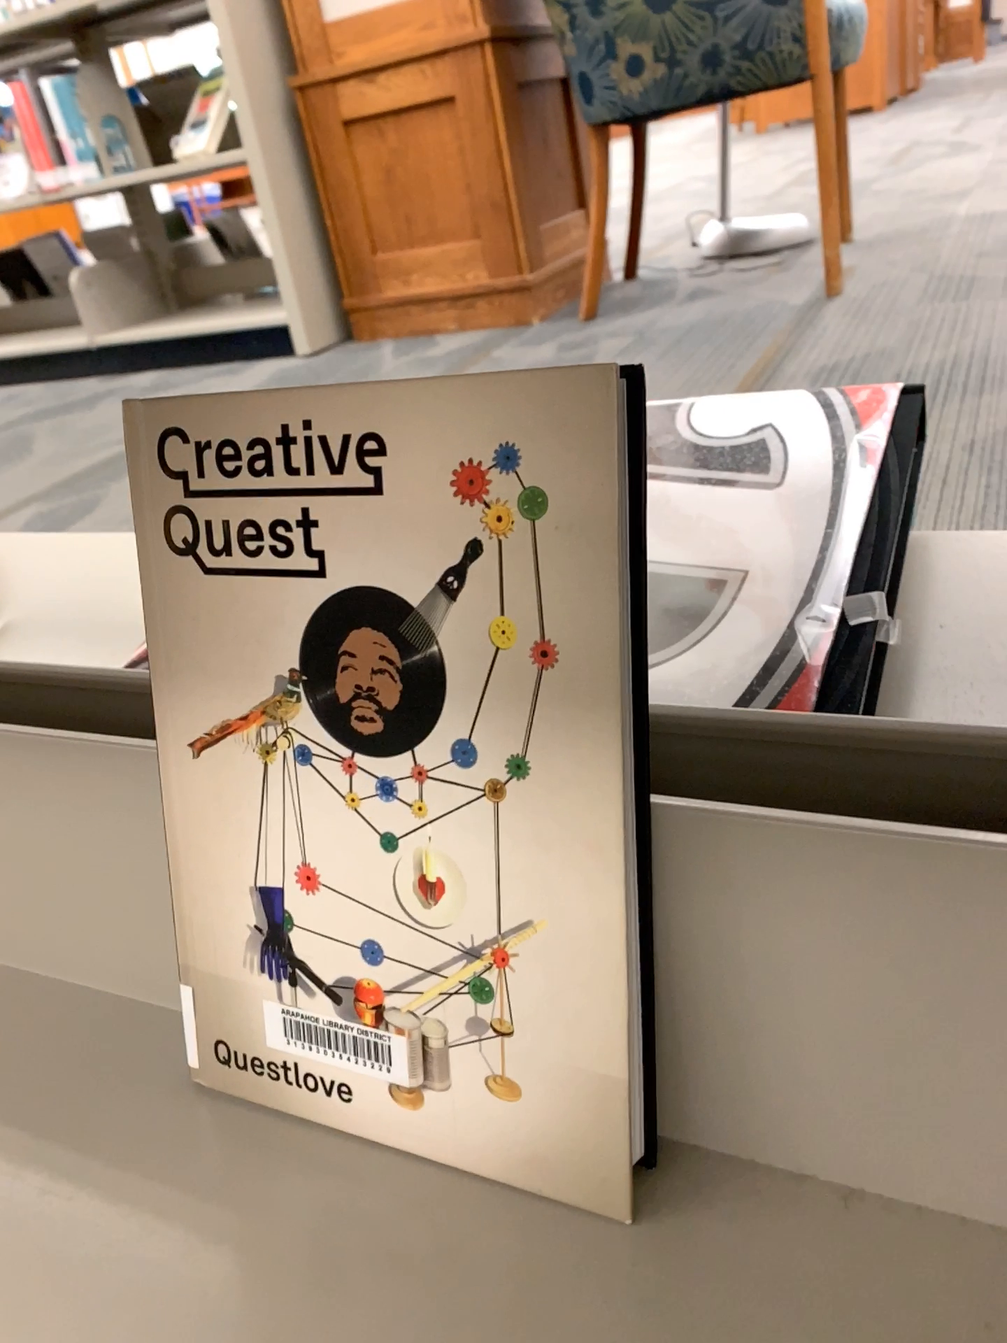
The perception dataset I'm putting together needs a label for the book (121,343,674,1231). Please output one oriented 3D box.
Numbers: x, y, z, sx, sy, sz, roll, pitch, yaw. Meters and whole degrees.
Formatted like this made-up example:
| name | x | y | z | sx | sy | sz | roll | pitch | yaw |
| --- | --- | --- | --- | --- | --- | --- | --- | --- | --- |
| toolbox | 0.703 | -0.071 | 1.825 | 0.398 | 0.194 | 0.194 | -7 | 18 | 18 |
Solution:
| name | x | y | z | sx | sy | sz | roll | pitch | yaw |
| --- | --- | --- | --- | --- | --- | --- | --- | --- | --- |
| book | -0.033 | 0.029 | 0.303 | 0.160 | 0.224 | 0.031 | 4 | 11 | 28 |
